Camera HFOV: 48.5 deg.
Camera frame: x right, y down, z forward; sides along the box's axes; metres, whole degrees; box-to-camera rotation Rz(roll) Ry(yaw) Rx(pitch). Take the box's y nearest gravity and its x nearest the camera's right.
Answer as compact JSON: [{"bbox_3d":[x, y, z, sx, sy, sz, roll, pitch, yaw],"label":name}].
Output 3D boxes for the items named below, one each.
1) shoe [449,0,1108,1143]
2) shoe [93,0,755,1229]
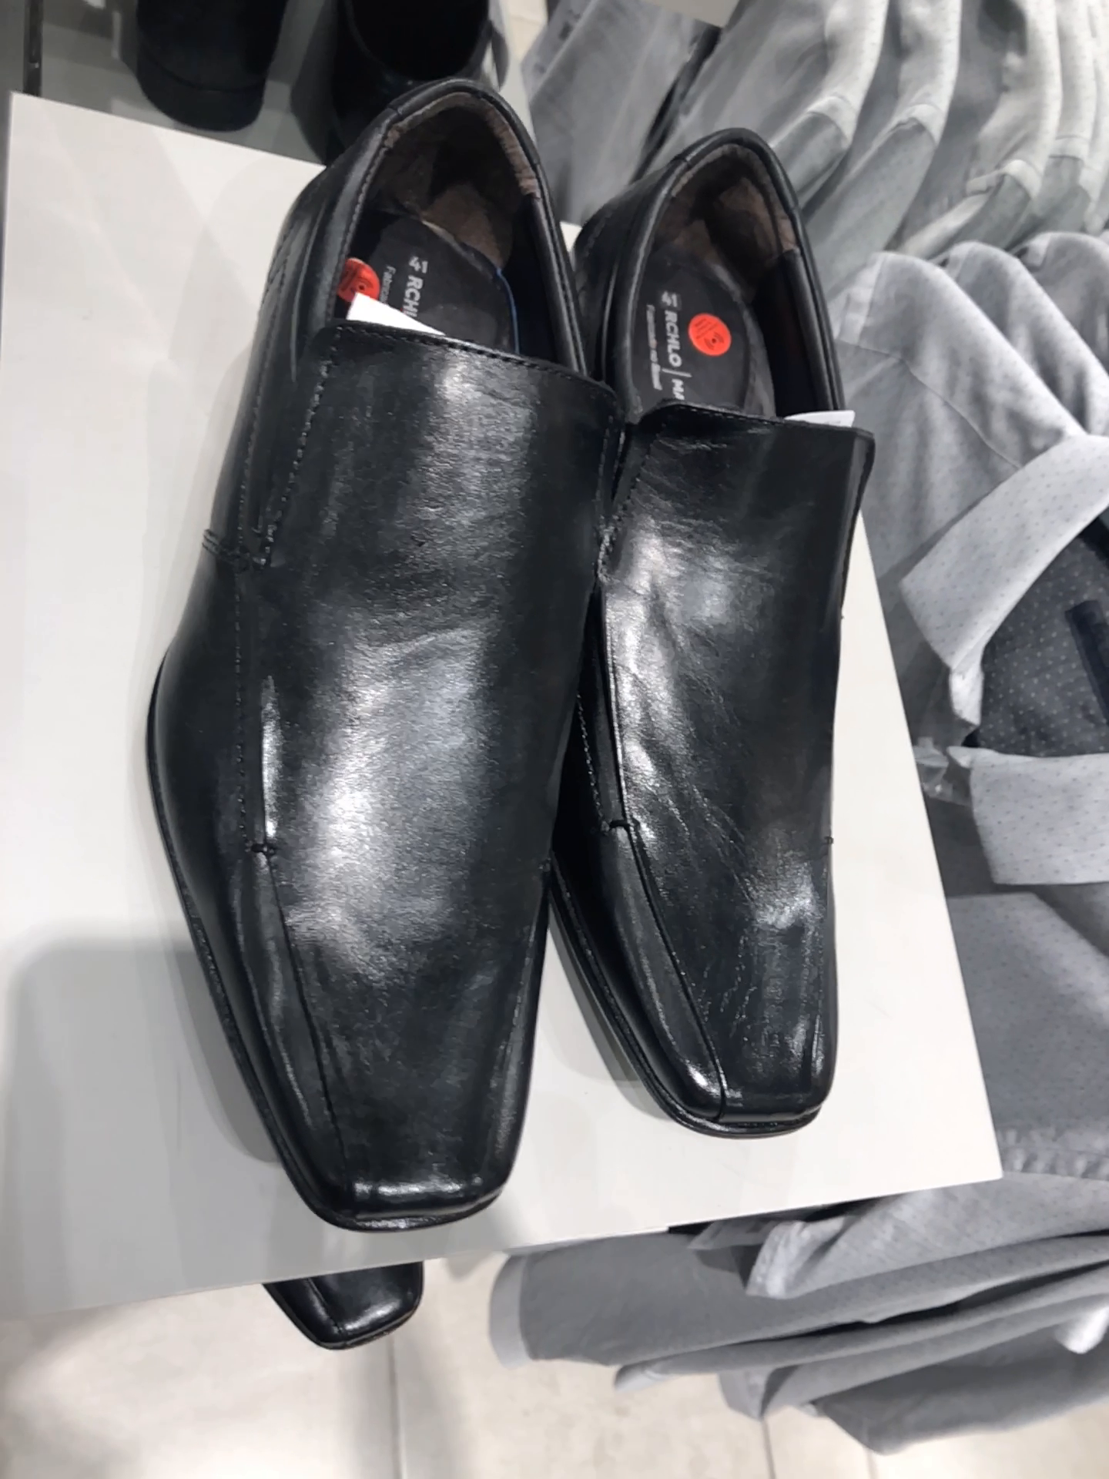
[{"bbox_3d":[0.044,-0.044,0.335,0.110,0.100,0.281,5,67,-21],"label":"shoe"},{"bbox_3d":[-0.043,-0.046,0.304,0.110,0.100,0.301,5,67,-21],"label":"shoe"}]
